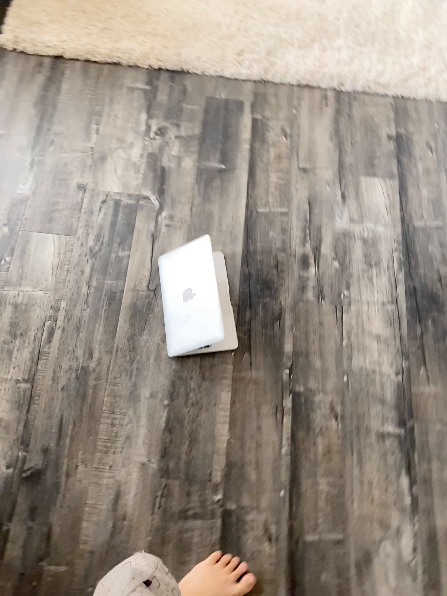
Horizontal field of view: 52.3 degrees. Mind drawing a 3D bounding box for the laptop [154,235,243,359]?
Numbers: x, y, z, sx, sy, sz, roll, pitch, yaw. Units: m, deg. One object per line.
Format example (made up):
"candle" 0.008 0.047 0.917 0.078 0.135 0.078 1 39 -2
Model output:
"laptop" -0.066 -0.003 1.113 0.172 0.113 0.270 -7 69 -6
